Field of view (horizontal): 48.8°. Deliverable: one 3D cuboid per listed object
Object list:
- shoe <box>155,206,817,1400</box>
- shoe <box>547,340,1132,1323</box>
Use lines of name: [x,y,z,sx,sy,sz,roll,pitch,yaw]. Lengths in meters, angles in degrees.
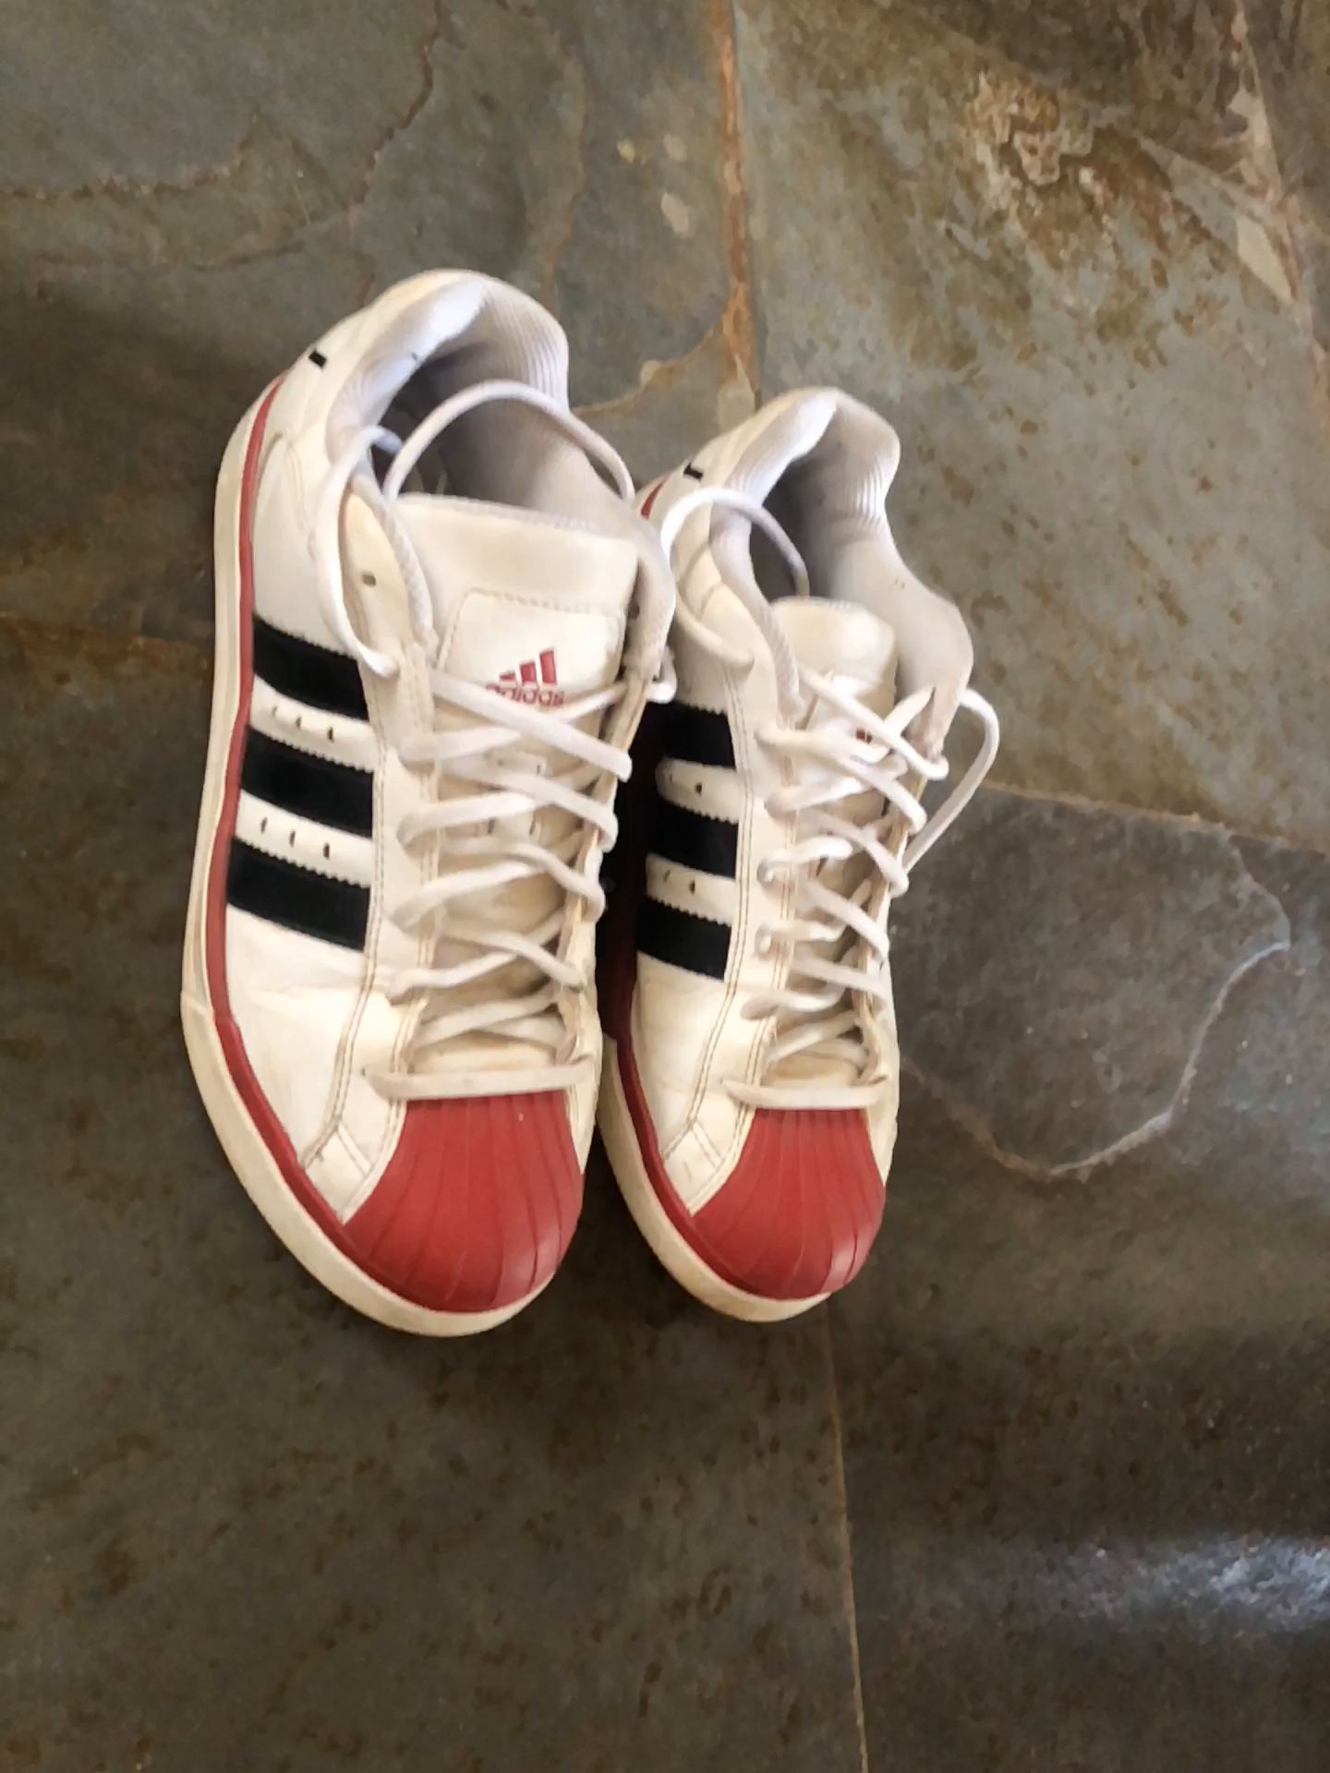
shoe: [-0.061,-0.013,0.397,0.110,0.129,0.270,2,73,-33]
shoe: [0.045,-0.009,0.461,0.110,0.109,0.271,6,71,-32]
